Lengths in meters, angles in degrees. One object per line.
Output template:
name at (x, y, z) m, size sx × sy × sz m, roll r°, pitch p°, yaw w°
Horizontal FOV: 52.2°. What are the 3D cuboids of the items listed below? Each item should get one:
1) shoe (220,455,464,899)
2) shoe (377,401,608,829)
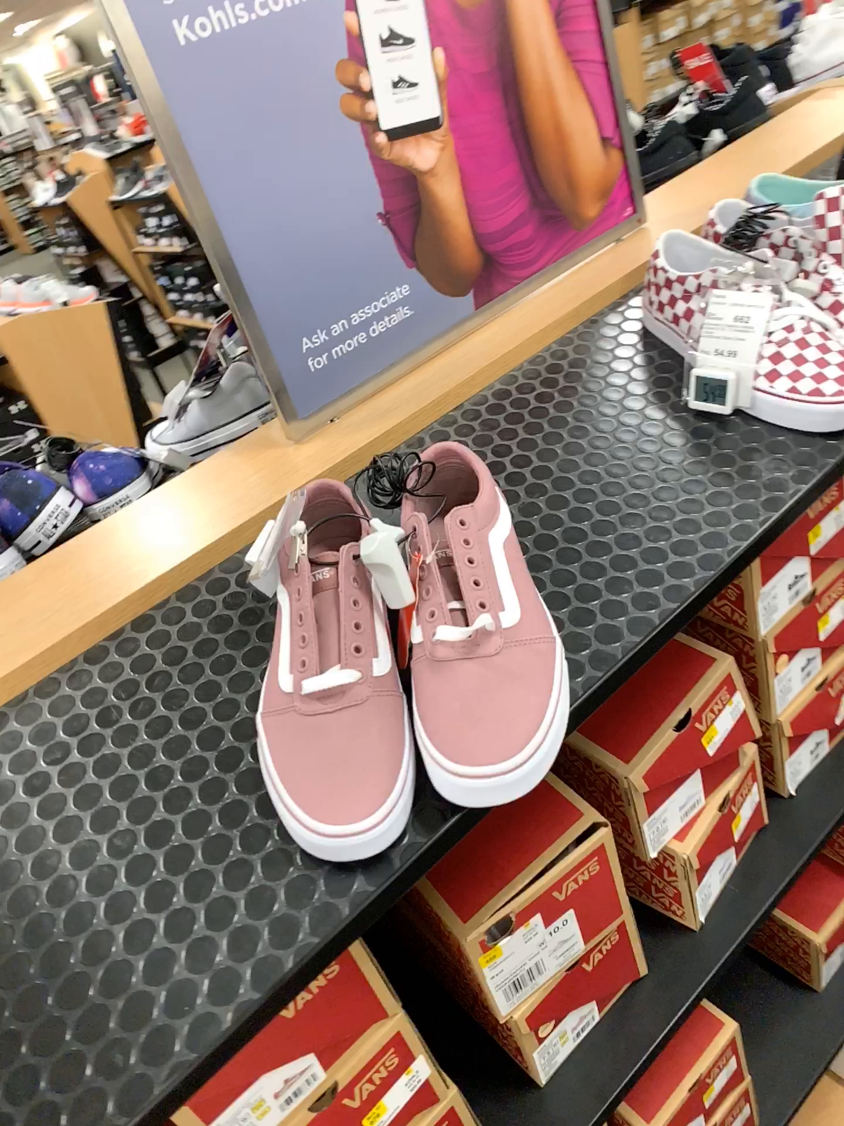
shoe at (-0.051, 0.058, 0.552) m, size 0.100 × 0.099 × 0.262 m, roll -16°, pitch 41°, yaw 7°
shoe at (0.036, 0.019, 0.556) m, size 0.100 × 0.099 × 0.262 m, roll -14°, pitch 41°, yaw 9°
